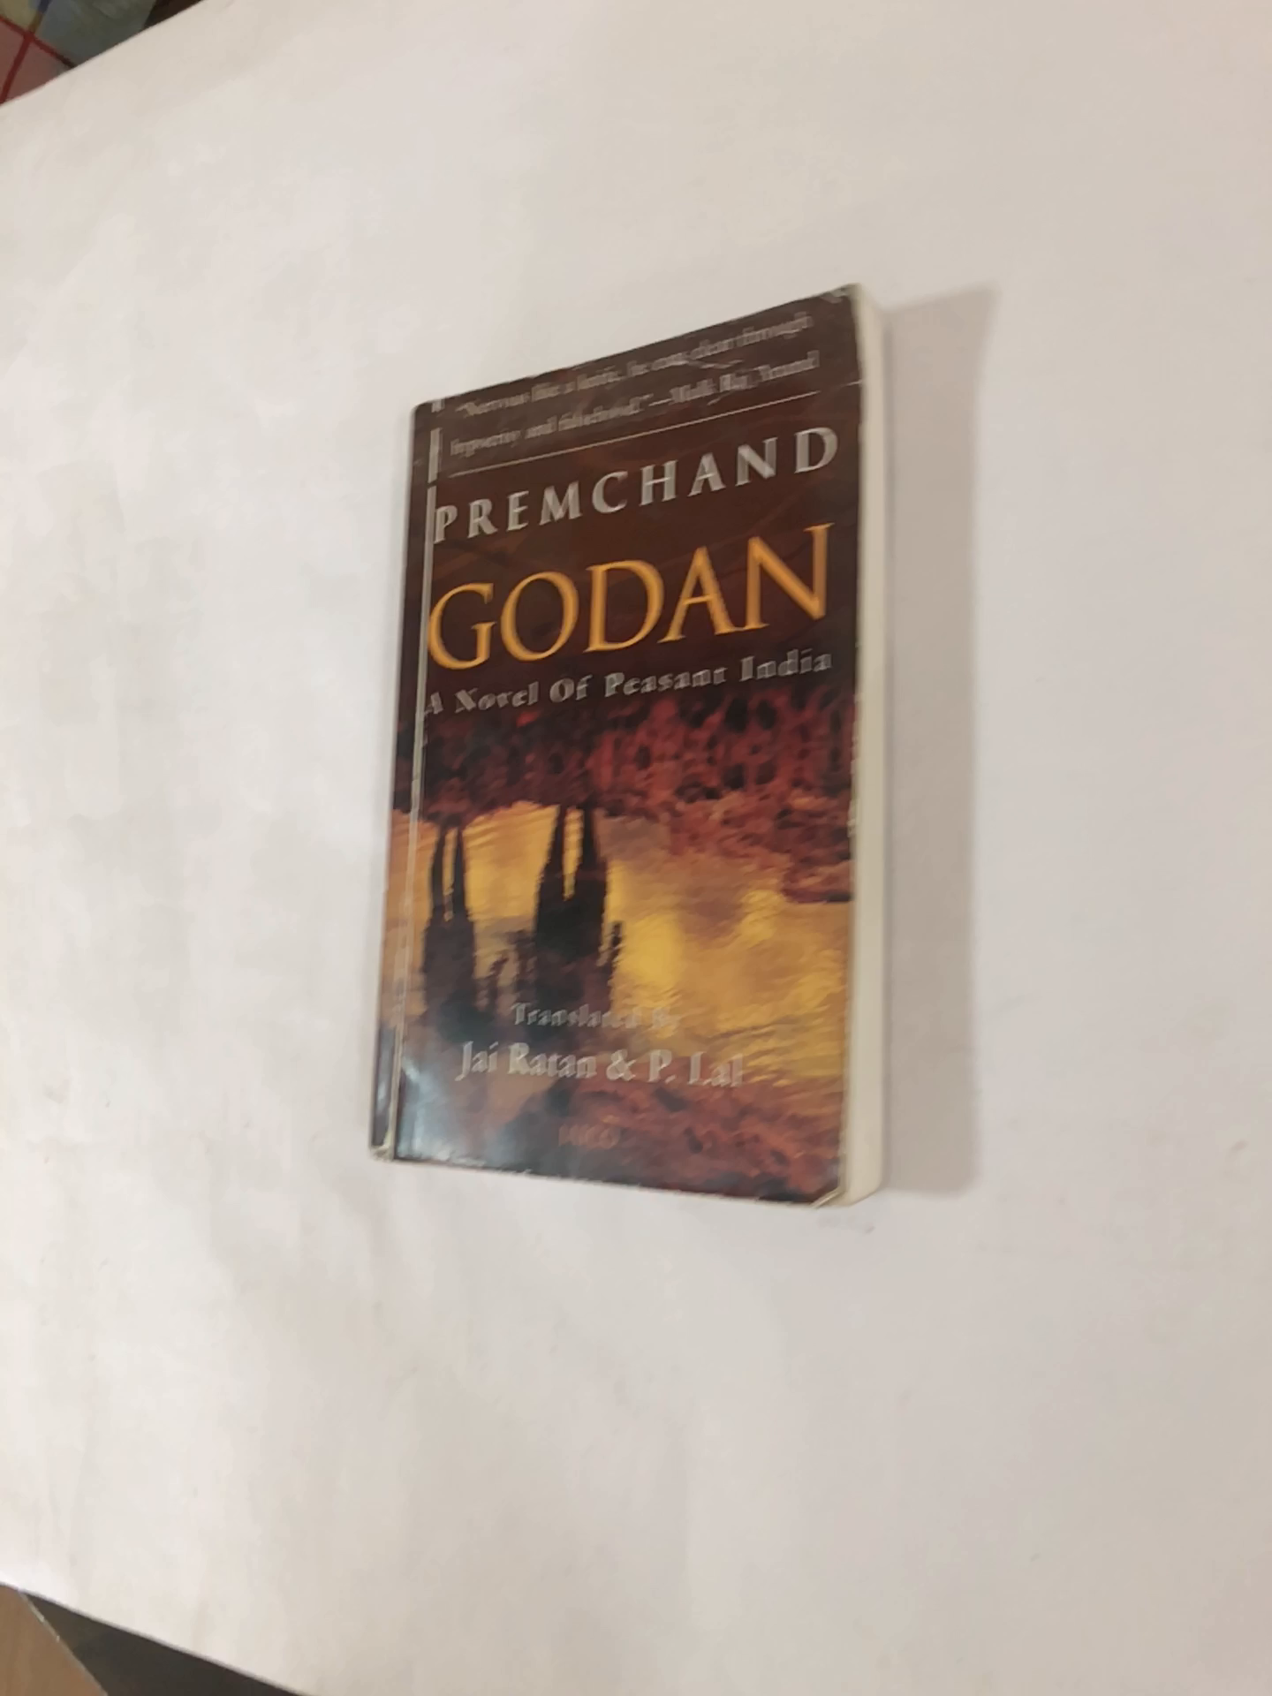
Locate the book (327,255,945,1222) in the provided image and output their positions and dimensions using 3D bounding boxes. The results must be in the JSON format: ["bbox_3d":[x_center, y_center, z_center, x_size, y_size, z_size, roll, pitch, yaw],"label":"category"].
[{"bbox_3d":[-0.003,-0.024,0.353,0.151,0.030,0.210,-2,81,32],"label":"book"}]
